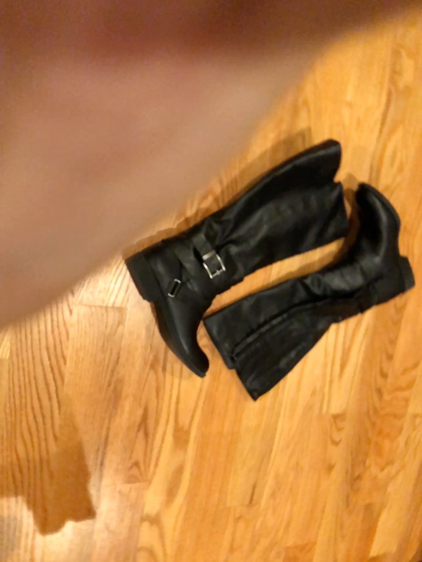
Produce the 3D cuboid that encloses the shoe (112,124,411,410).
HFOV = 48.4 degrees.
[{"bbox_3d":[0.097,-0.031,0.751,0.403,0.104,0.290,-27,112,-13],"label":"shoe"}]

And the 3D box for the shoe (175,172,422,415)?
[{"bbox_3d":[0.172,0.009,0.792,0.394,0.094,0.250,-27,111,-14],"label":"shoe"}]
